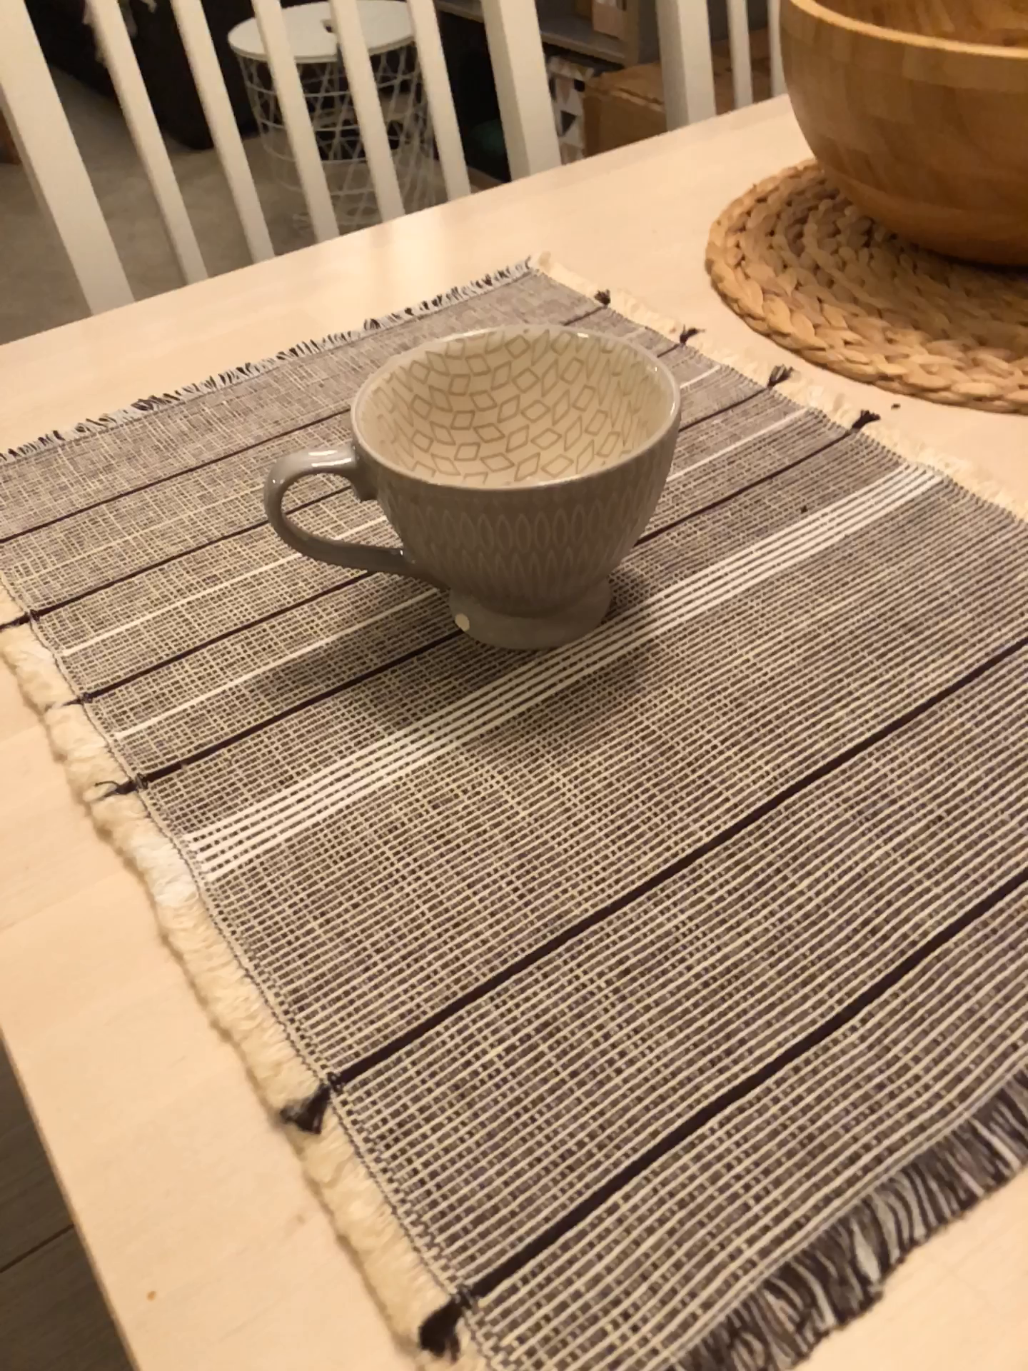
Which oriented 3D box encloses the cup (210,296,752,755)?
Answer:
[{"bbox_3d":[-0.013,-0.063,0.401,0.150,0.080,0.111,-18,44,-14],"label":"cup"}]
